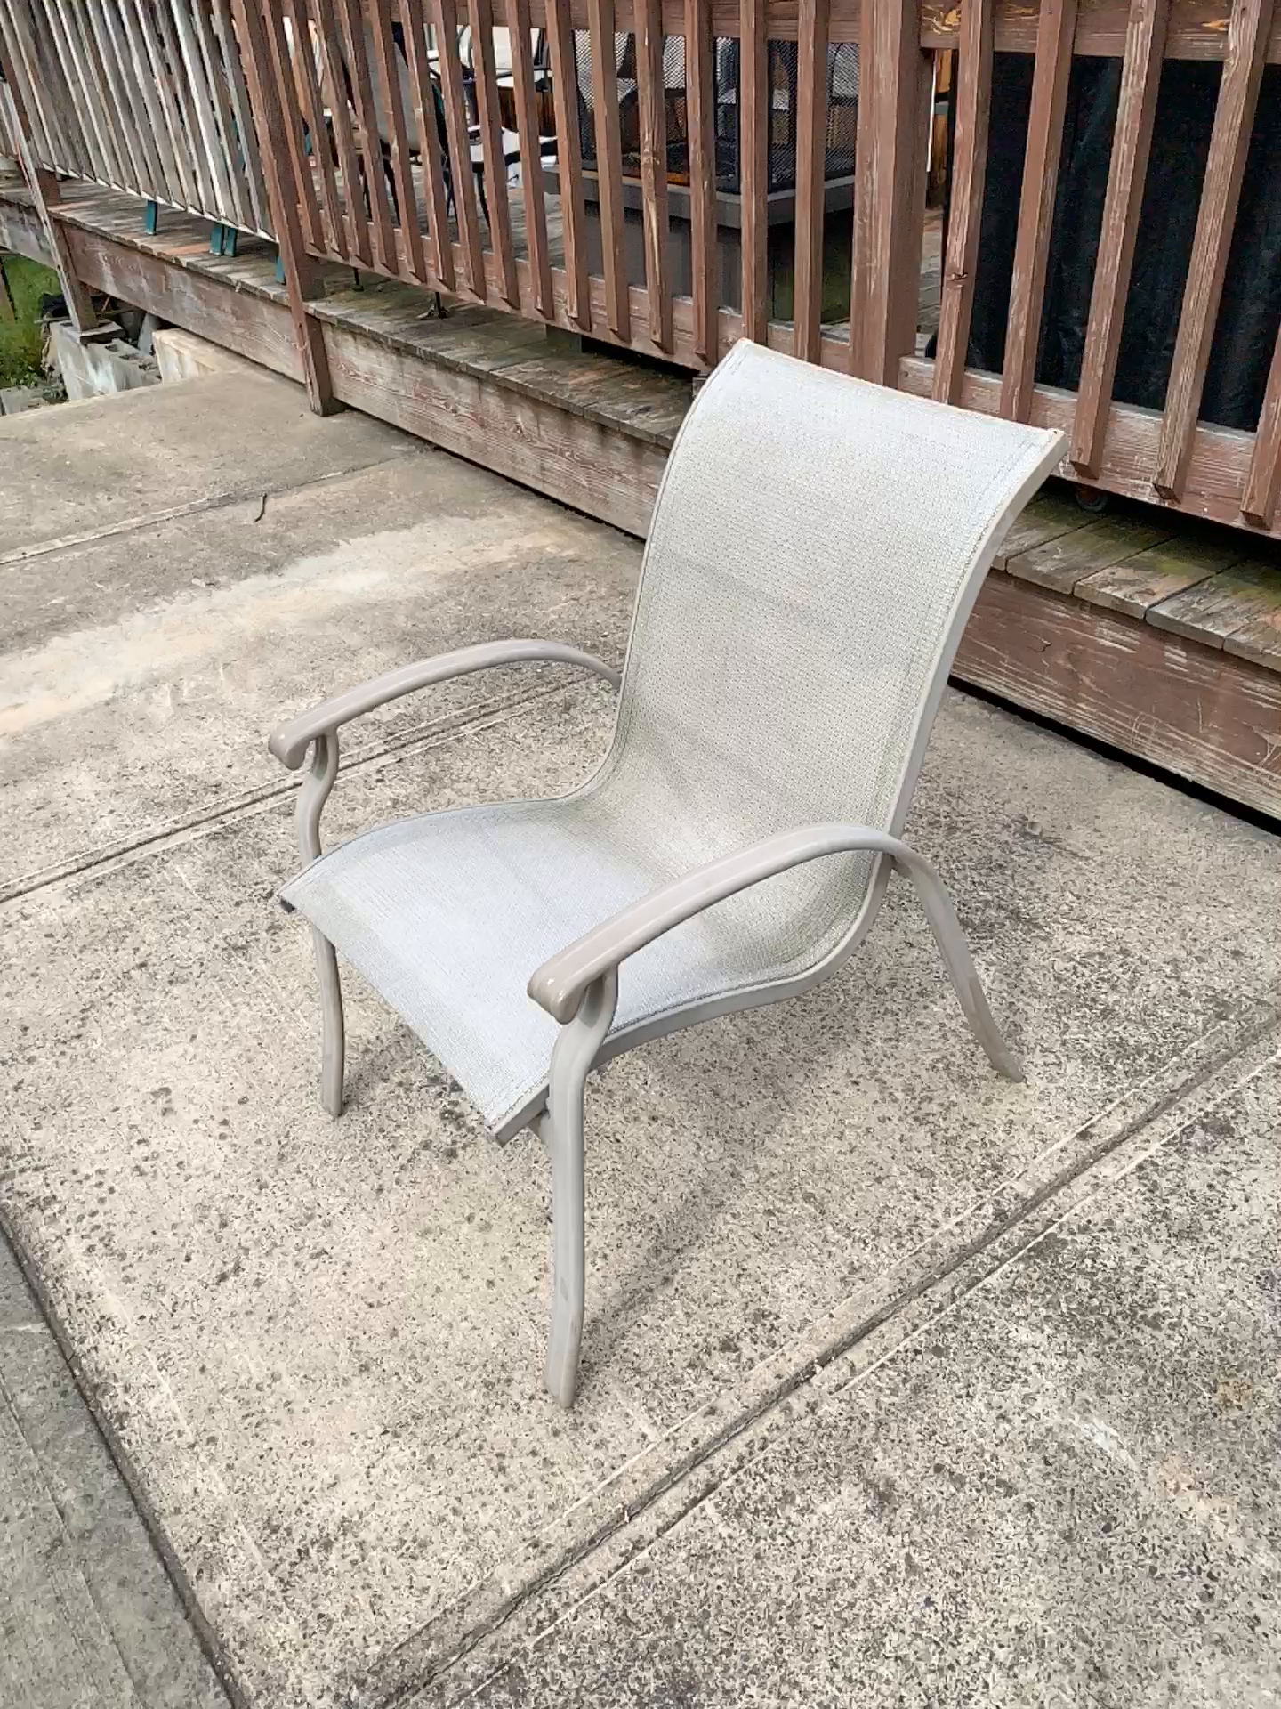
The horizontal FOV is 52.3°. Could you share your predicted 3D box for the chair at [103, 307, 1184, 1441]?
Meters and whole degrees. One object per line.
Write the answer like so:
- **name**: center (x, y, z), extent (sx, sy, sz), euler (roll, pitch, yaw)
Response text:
- **chair**: center (0.007, -0.047, 1.478), extent (0.791, 0.845, 0.653), euler (-25, 41, -28)
